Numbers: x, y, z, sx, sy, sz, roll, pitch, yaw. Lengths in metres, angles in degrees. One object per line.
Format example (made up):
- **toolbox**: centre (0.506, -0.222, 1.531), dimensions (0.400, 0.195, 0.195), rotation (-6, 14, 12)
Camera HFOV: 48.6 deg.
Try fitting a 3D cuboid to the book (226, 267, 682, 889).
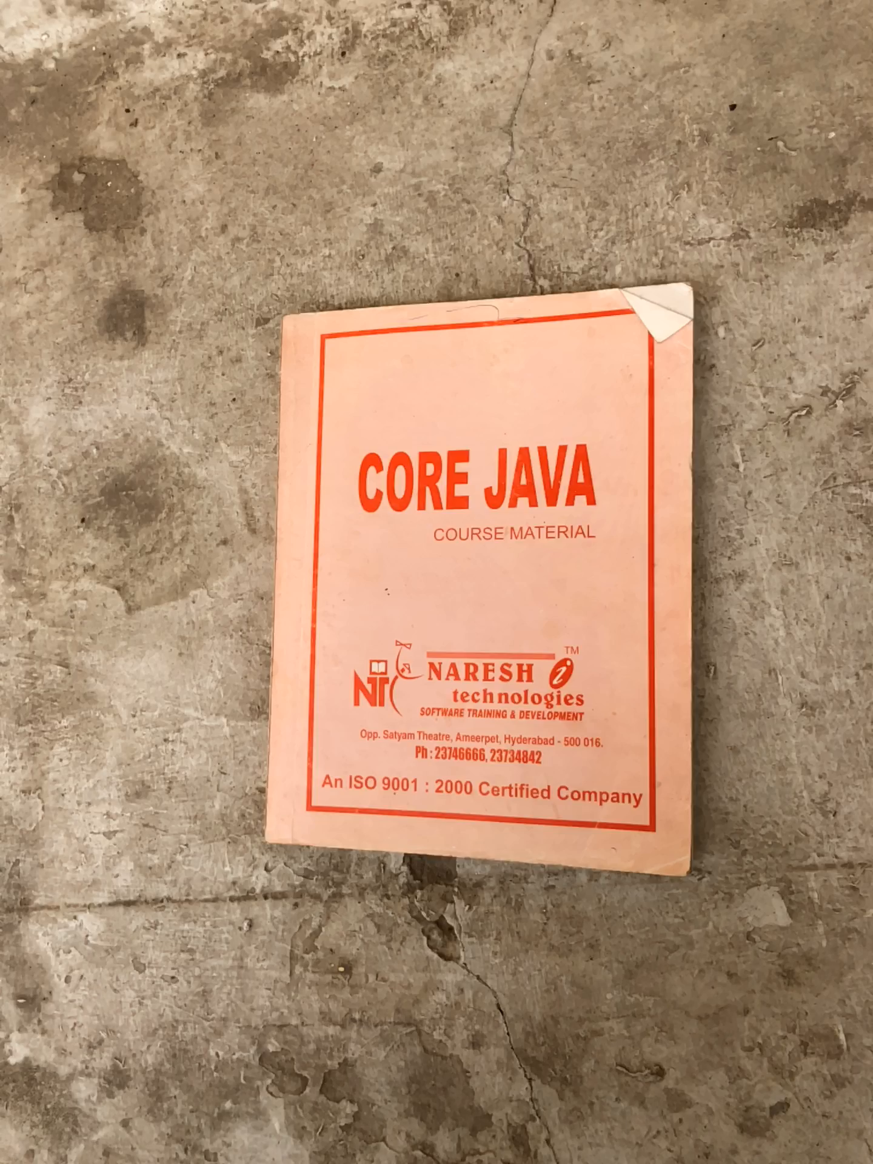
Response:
- **book**: centre (0.007, -0.003, 0.443), dimensions (0.200, 0.030, 0.260), rotation (-1, 83, 16)
